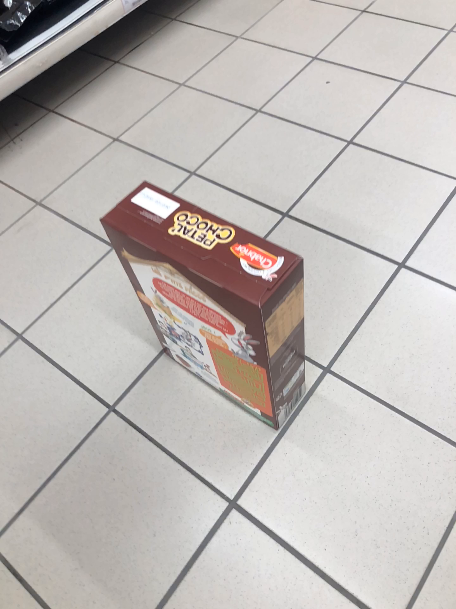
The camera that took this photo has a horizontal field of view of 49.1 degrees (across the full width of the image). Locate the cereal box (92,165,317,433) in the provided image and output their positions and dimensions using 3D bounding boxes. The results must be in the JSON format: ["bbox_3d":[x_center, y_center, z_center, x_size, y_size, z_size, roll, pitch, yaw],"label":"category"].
[{"bbox_3d":[-0.008,0.009,0.551,0.200,0.279,0.070,29,64,26],"label":"cereal box"}]
